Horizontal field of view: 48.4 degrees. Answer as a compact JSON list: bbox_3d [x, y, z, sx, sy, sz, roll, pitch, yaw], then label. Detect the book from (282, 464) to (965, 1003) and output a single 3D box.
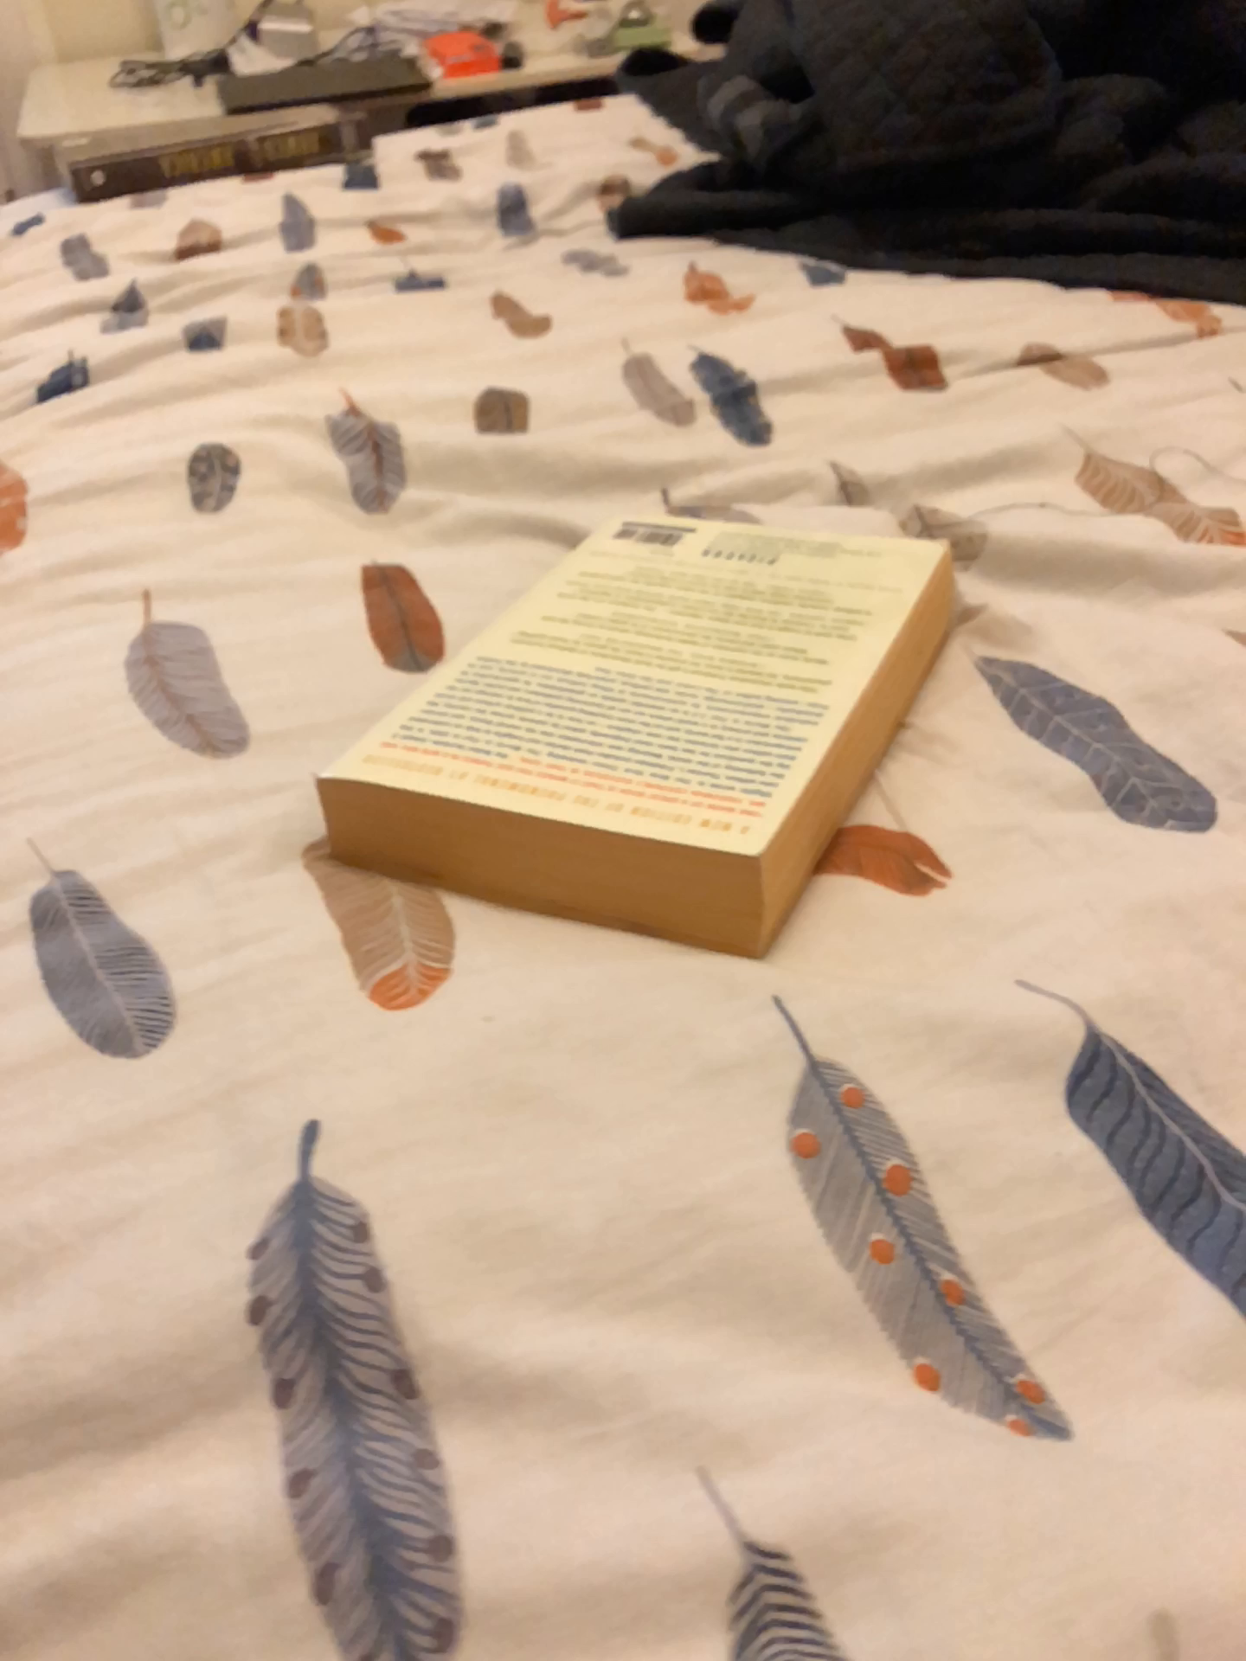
[{"bbox_3d":[0.015,-0.050,0.460,0.150,0.040,0.221,13,40,17],"label":"book"}]
